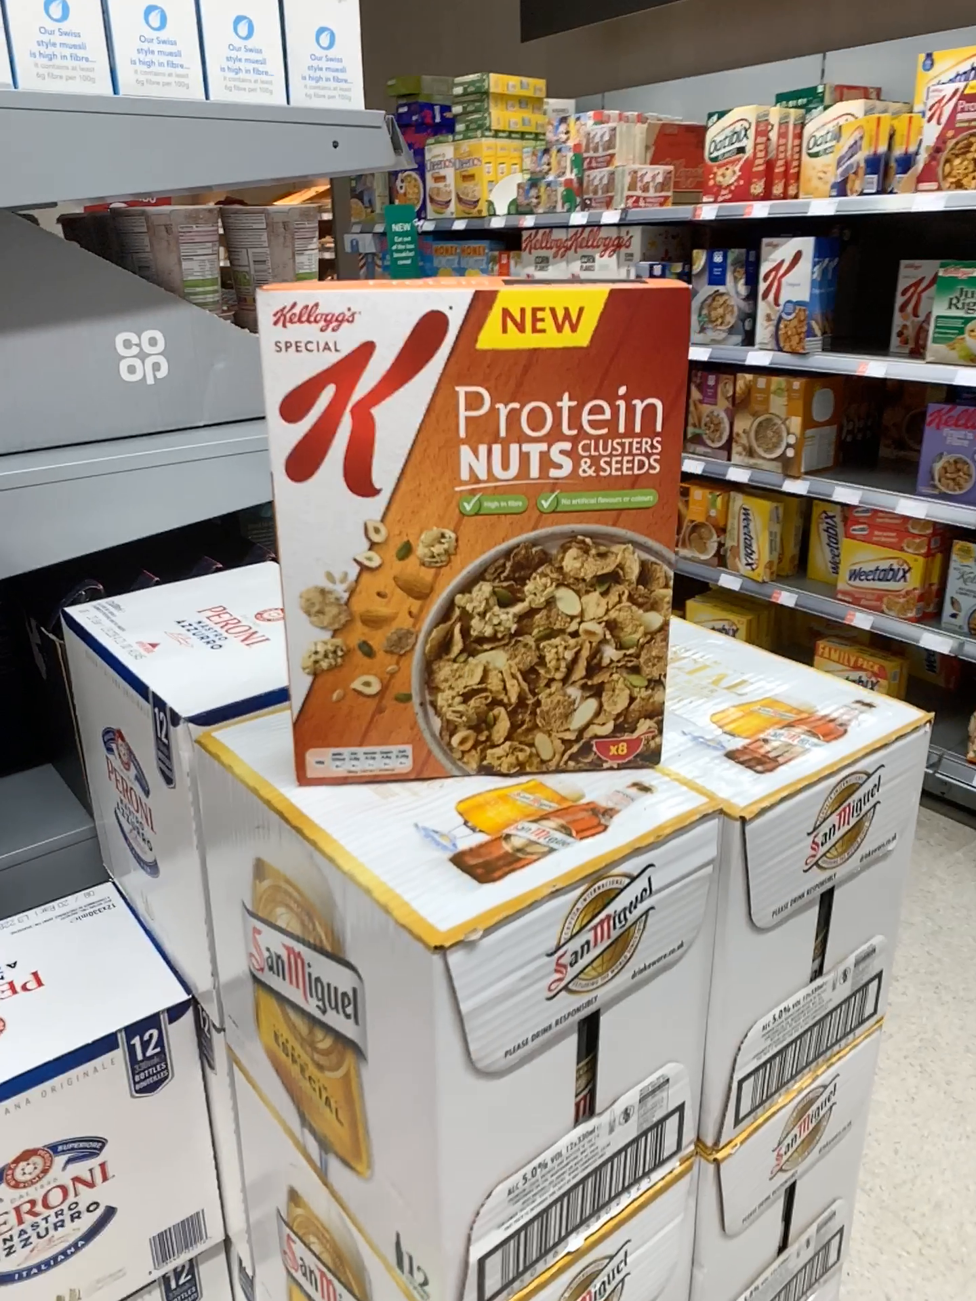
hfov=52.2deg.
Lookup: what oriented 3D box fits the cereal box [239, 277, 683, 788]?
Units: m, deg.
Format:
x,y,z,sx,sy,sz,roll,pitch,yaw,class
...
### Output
x,y,z,sx,sy,sz,roll,pitch,yaw,class
-0.010,-0.055,0.492,0.190,0.238,0.050,-2,21,-3,cereal box
